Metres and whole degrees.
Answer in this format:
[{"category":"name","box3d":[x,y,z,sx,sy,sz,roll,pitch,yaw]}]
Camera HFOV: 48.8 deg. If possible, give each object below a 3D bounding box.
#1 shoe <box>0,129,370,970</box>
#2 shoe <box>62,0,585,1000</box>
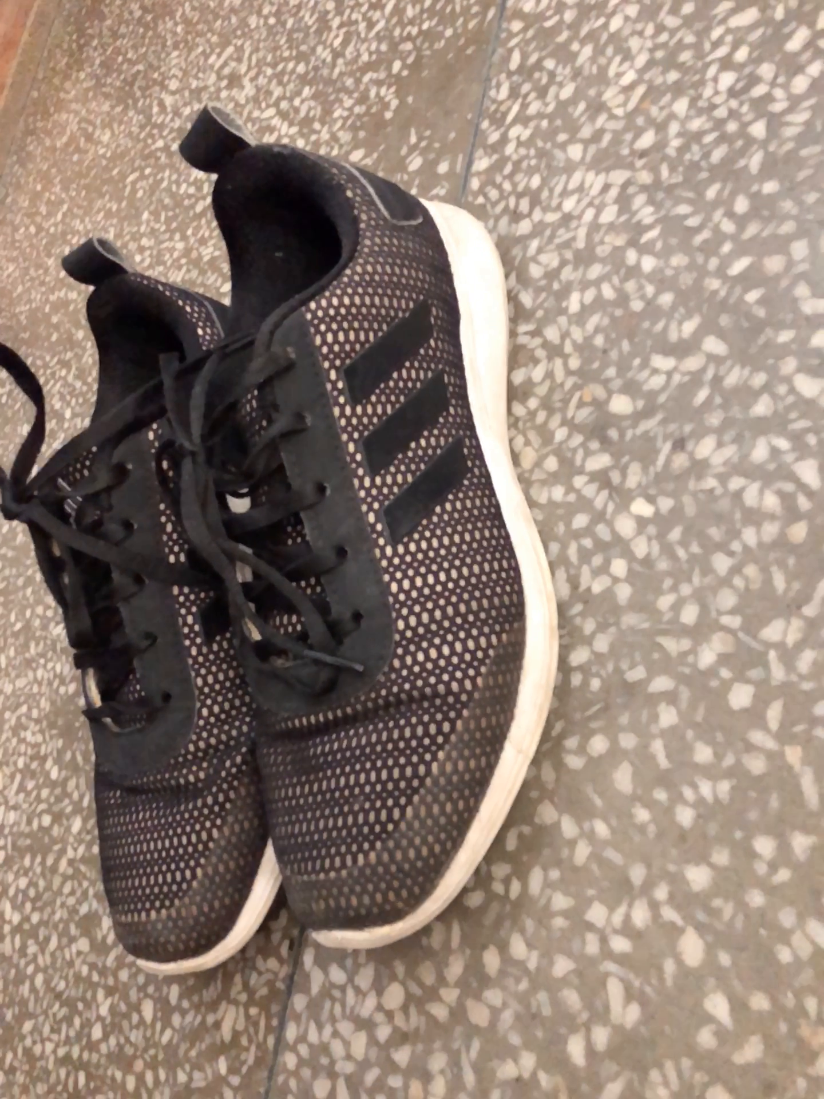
[{"category":"shoe","box3d":[-0.083,-0.001,0.336,0.101,0.080,0.280,-21,60,35]},{"category":"shoe","box3d":[-0.024,-0.020,0.273,0.101,0.080,0.270,-19,62,36]}]
